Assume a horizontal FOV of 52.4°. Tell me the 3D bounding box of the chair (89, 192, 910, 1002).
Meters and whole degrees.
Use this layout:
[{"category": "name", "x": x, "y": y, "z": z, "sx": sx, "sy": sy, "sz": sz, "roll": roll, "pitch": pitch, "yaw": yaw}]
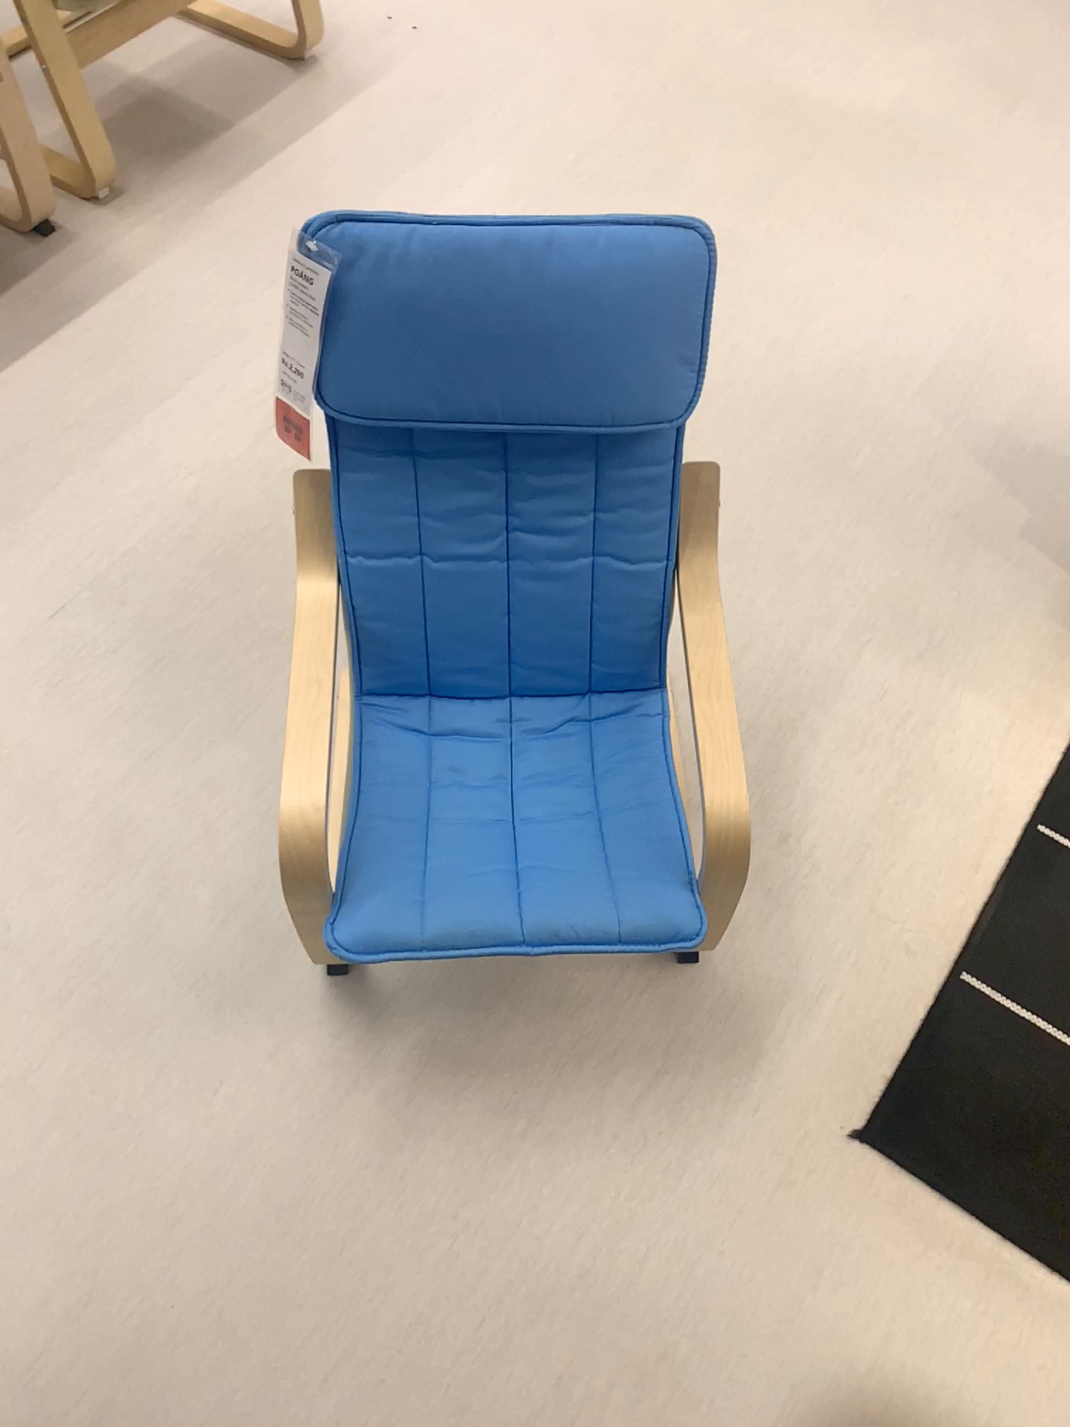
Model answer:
[{"category": "chair", "x": -0.032, "y": -0.067, "z": 1.080, "sx": 0.510, "sy": 0.639, "sz": 0.501, "roll": -2, "pitch": 58, "yaw": -2}]
